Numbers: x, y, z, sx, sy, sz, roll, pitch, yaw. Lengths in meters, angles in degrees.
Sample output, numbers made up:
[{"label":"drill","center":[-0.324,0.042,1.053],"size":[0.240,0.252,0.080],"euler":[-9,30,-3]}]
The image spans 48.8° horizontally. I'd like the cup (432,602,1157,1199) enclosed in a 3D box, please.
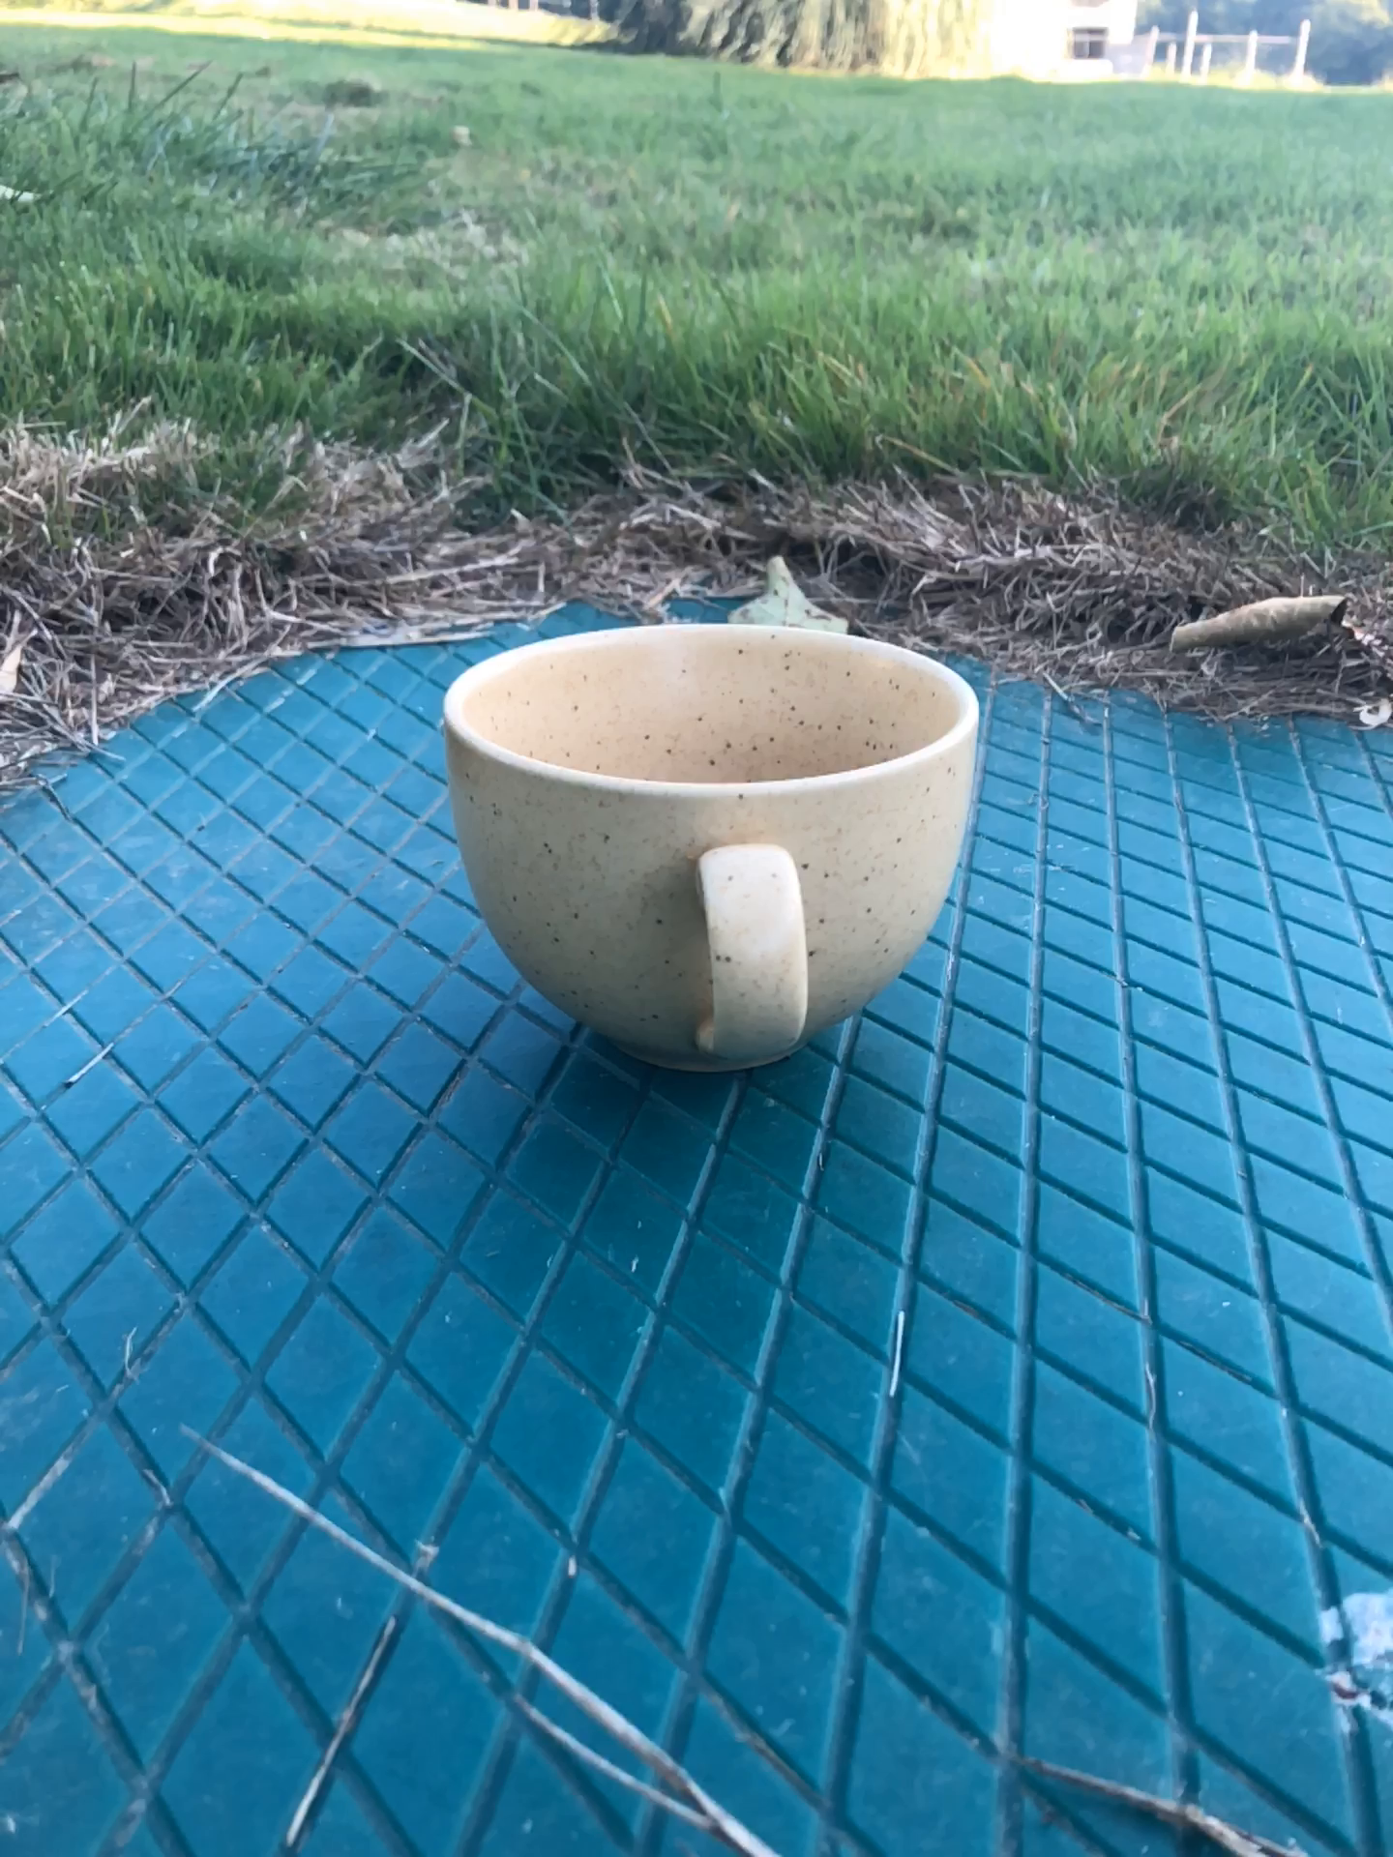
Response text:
[{"label":"cup","center":[0.008,-0.017,0.334],"size":[0.124,0.065,0.143],"euler":[-4,28,-7]}]
